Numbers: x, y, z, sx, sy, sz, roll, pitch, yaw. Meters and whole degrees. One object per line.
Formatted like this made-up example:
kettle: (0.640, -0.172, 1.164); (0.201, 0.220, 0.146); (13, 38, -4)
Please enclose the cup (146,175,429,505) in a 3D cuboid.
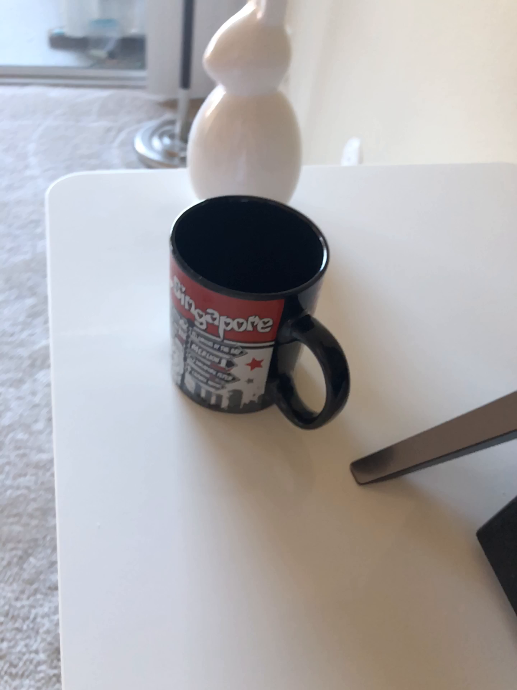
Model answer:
cup: (0.004, -0.005, 0.317); (0.080, 0.110, 0.120); (-24, 56, -29)
